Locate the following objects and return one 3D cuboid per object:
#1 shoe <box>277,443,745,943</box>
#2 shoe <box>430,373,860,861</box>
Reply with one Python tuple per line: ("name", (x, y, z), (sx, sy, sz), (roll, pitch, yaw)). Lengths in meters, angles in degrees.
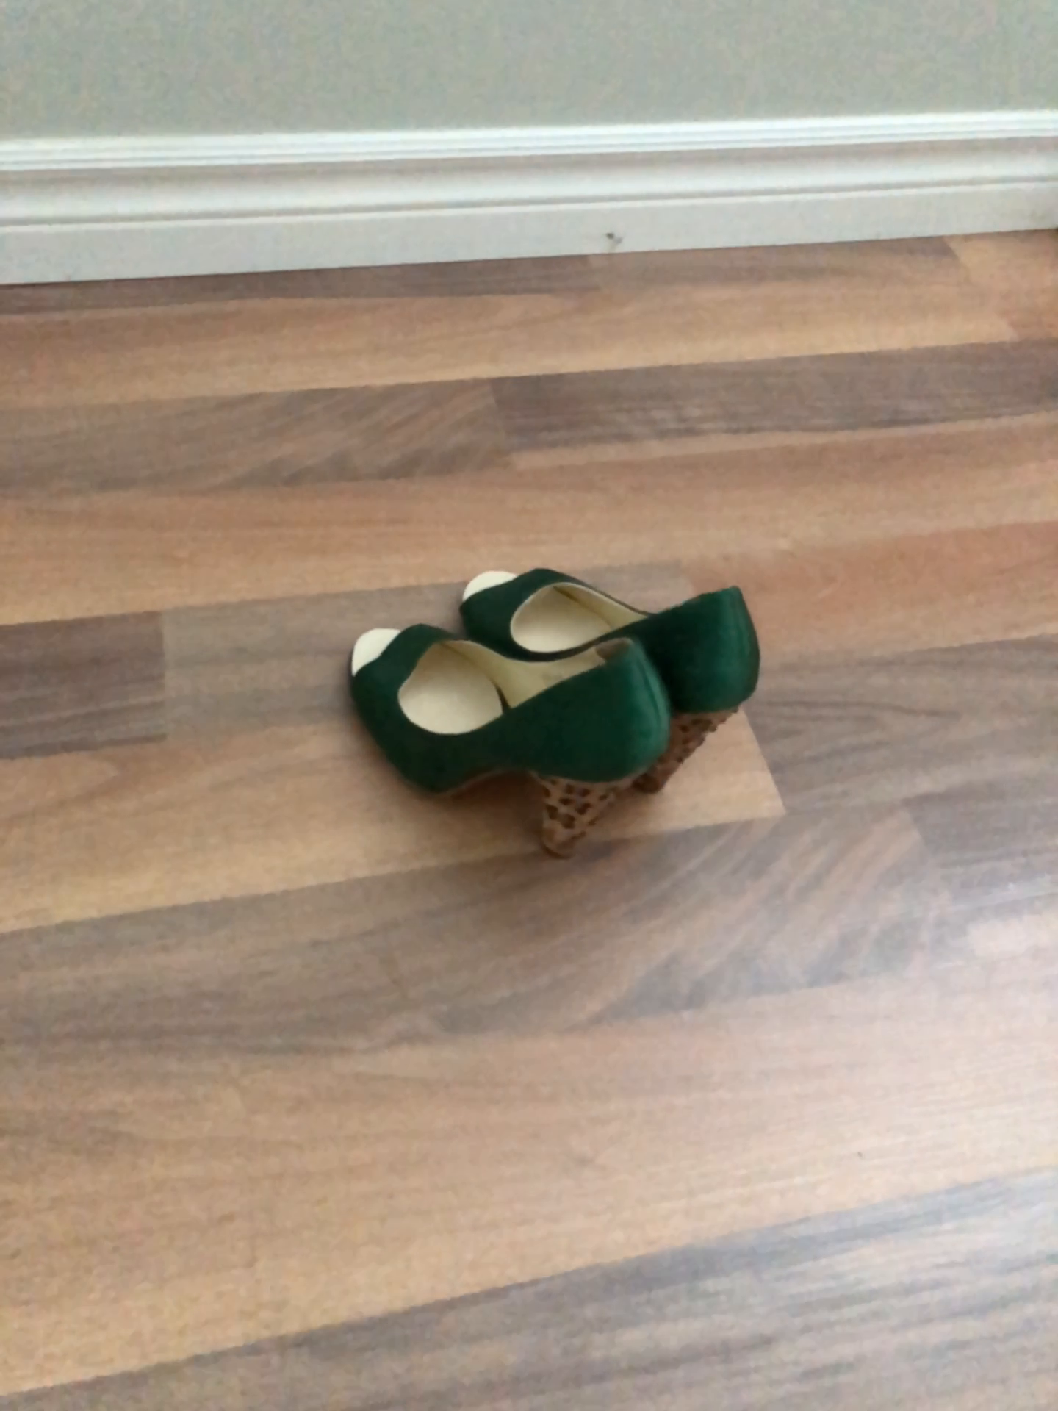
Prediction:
("shoe", (-0.017, -0.009, 0.578), (0.210, 0.130, 0.090), (39, 58, 22))
("shoe", (0.046, -0.050, 0.605), (0.090, 0.130, 0.210), (-29, 60, -25))
